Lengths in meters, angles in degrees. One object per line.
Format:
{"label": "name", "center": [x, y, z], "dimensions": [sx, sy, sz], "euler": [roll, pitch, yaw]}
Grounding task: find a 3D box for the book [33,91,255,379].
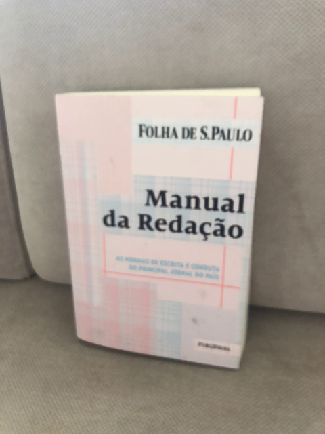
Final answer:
{"label": "book", "center": [-0.014, 0.014, 0.316], "dimensions": [0.166, 0.228, 0.040], "euler": [5, 19, 17]}
